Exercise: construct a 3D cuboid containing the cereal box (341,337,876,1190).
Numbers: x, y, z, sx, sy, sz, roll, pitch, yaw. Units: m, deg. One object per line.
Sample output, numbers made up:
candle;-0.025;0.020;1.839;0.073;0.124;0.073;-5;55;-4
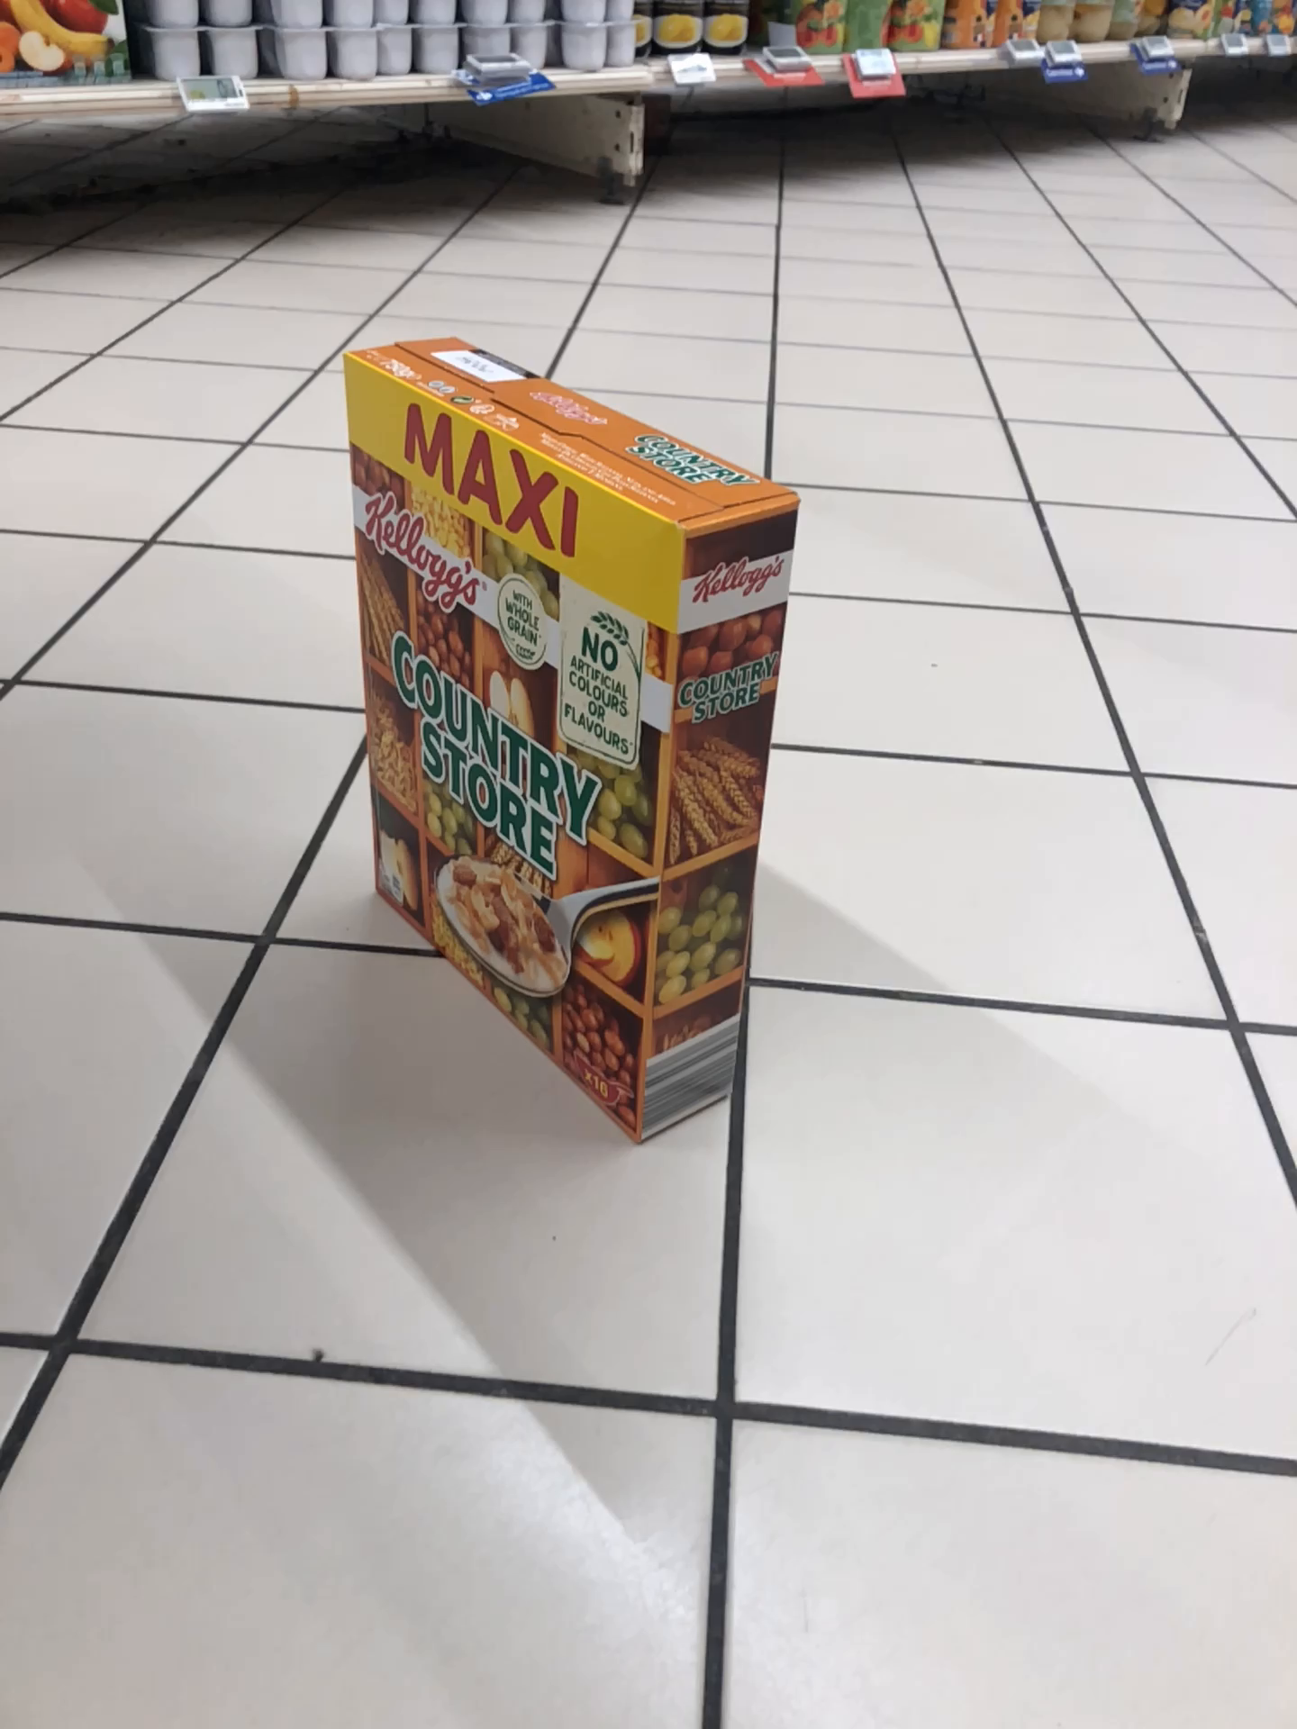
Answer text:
cereal box;-0.027;-0.040;0.516;0.060;0.239;0.200;-22;41;-32
